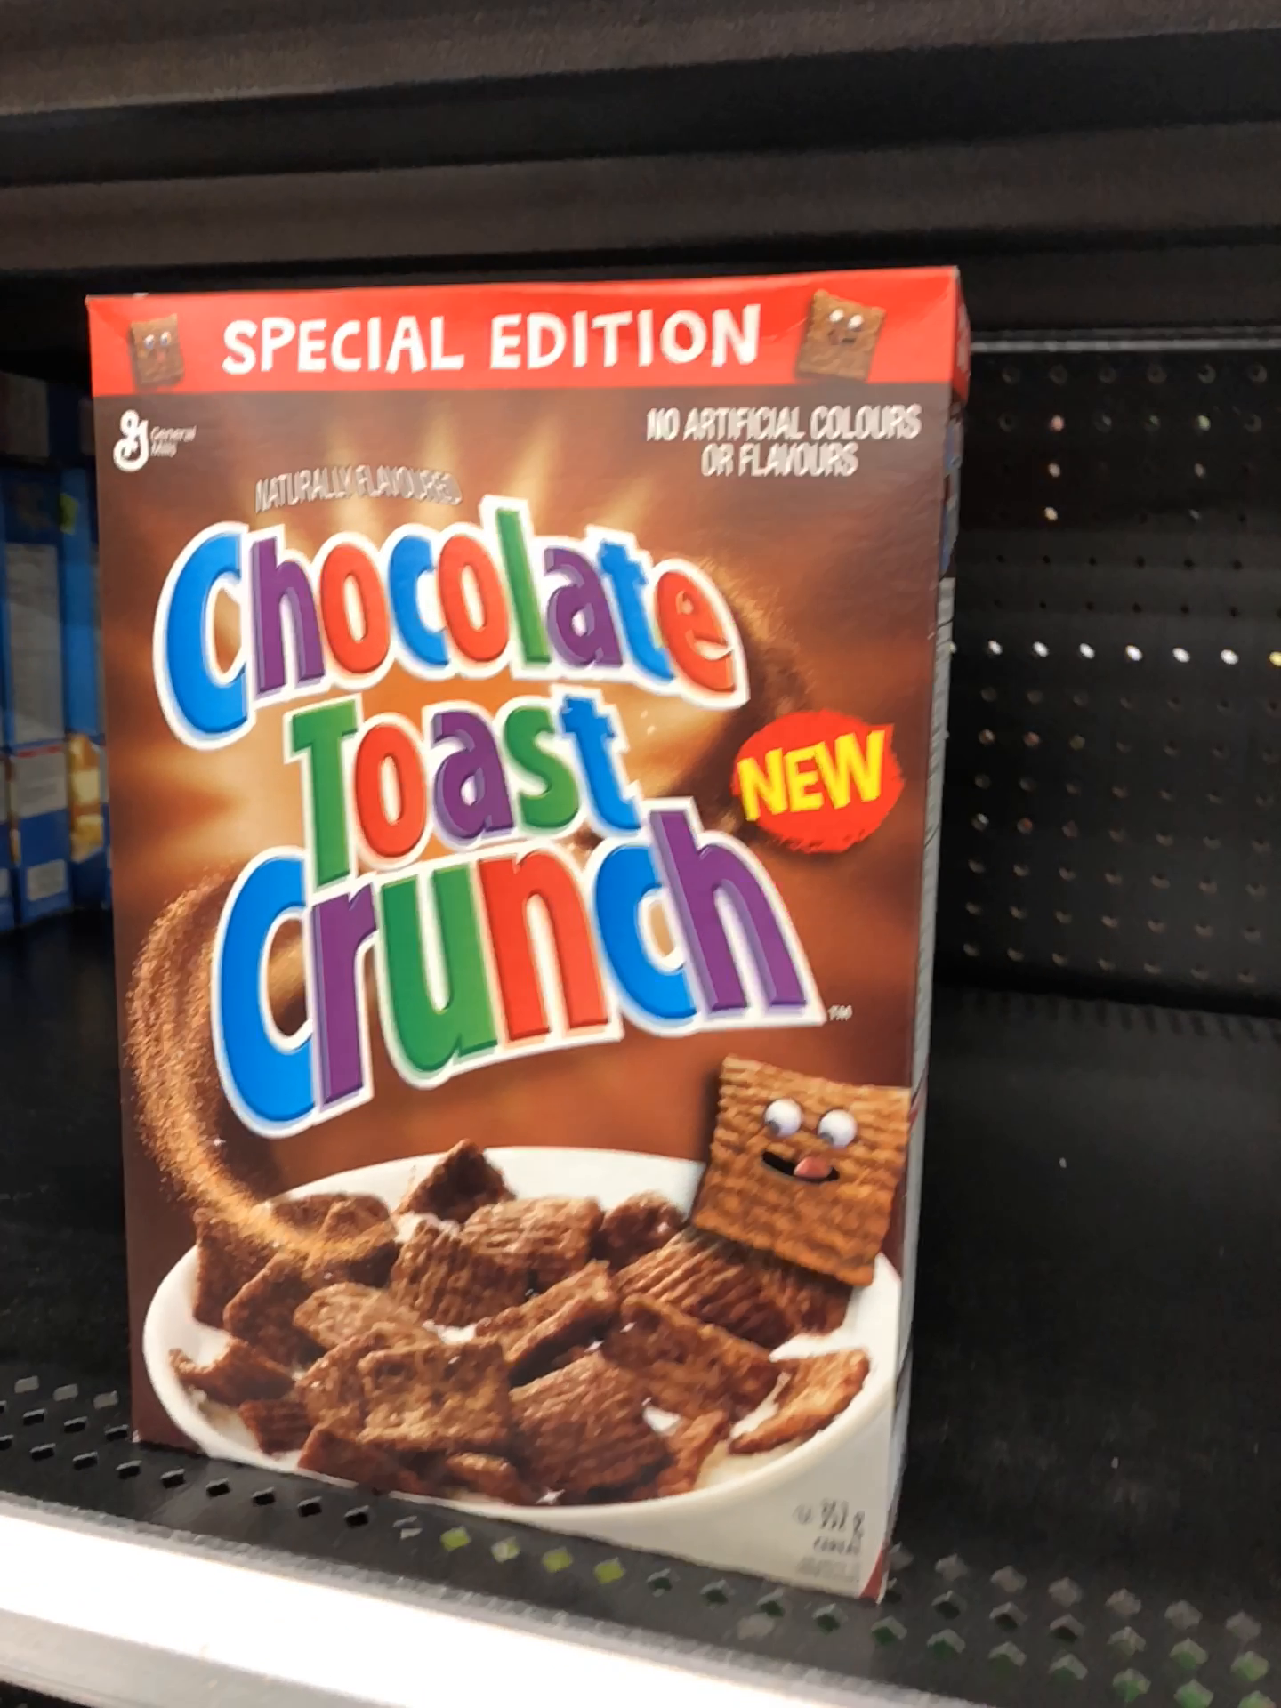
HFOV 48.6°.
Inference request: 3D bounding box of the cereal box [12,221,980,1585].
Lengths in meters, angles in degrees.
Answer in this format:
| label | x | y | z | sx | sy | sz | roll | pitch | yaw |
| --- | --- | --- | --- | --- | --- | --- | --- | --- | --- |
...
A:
| label | x | y | z | sx | sy | sz | roll | pitch | yaw |
| --- | --- | --- | --- | --- | --- | --- | --- | --- | --- |
| cereal box | -0.035 | 0.009 | 0.324 | 0.200 | 0.269 | 0.050 | 4 | 10 | 15 |
